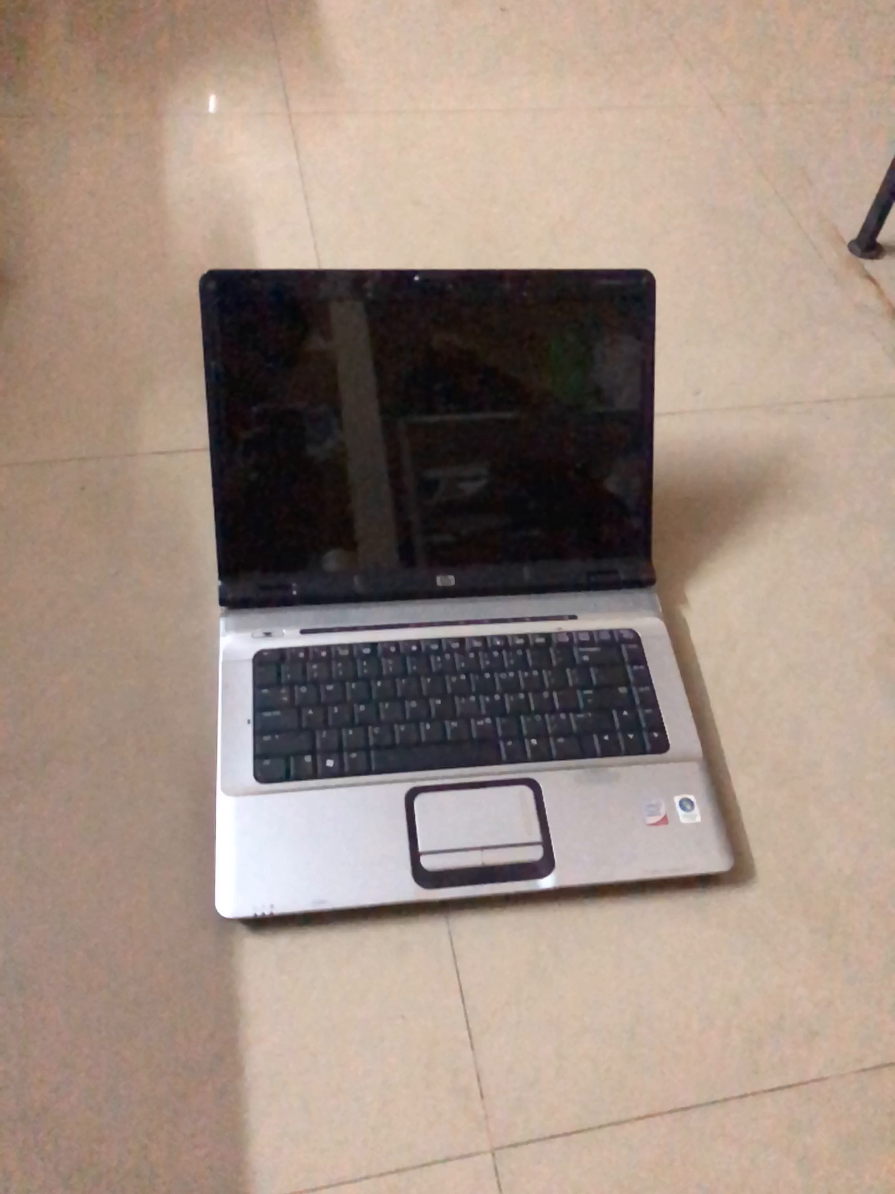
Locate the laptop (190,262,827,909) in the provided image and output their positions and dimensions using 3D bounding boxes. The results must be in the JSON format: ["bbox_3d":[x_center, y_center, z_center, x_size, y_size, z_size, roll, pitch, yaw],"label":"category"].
[{"bbox_3d":[0.009,-0.030,0.689,0.338,0.166,0.411,-2,56,-8],"label":"laptop"}]
